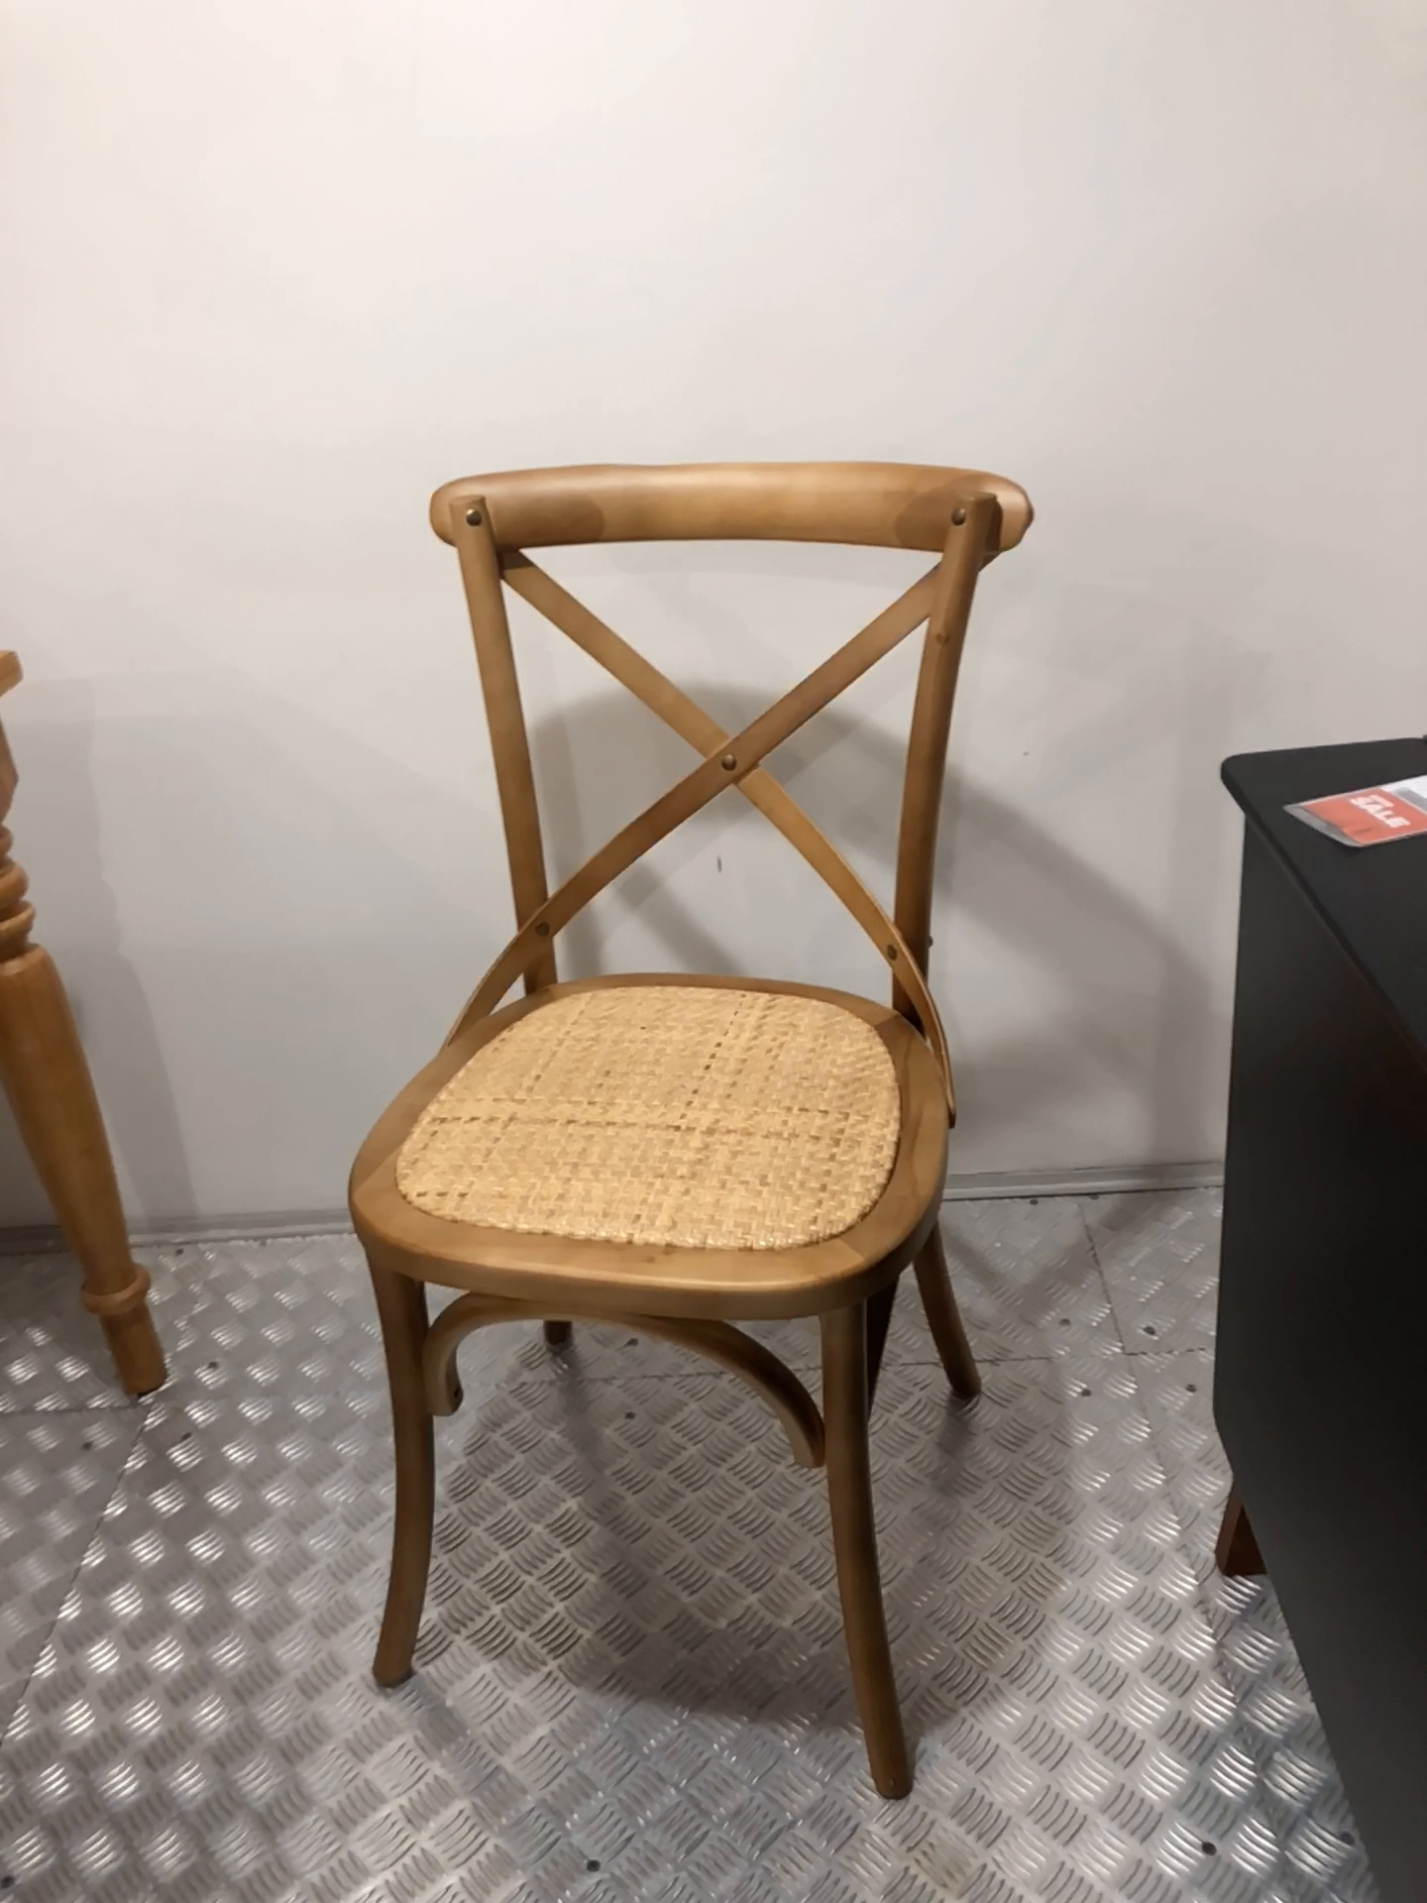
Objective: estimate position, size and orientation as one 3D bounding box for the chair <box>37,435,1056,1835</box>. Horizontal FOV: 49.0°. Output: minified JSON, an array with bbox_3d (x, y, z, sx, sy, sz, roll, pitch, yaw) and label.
[{"bbox_3d":[-0.024,0.107,1.232,0.500,0.874,0.544,4,29,18],"label":"chair"}]
